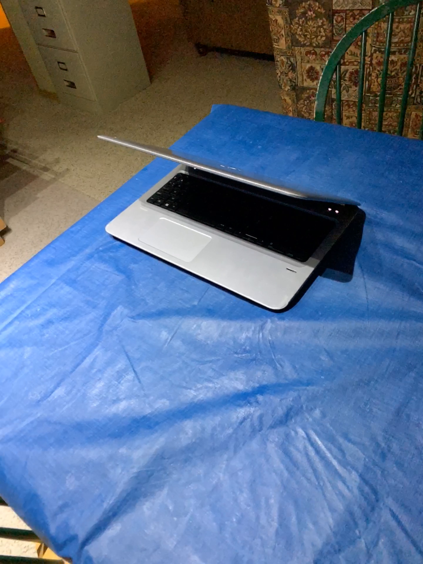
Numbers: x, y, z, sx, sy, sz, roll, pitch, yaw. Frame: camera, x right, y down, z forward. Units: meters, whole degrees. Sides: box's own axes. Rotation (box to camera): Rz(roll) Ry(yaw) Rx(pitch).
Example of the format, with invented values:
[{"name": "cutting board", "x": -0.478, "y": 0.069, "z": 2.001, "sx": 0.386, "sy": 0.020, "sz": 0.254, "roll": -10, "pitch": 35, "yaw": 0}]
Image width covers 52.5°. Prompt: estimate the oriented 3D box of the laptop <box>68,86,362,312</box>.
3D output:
[{"name": "laptop", "x": 0.005, "y": -0.159, "z": 0.691, "sx": 0.366, "sy": 0.156, "sz": 0.254, "roll": 25, "pitch": 57, "yaw": 31}]
